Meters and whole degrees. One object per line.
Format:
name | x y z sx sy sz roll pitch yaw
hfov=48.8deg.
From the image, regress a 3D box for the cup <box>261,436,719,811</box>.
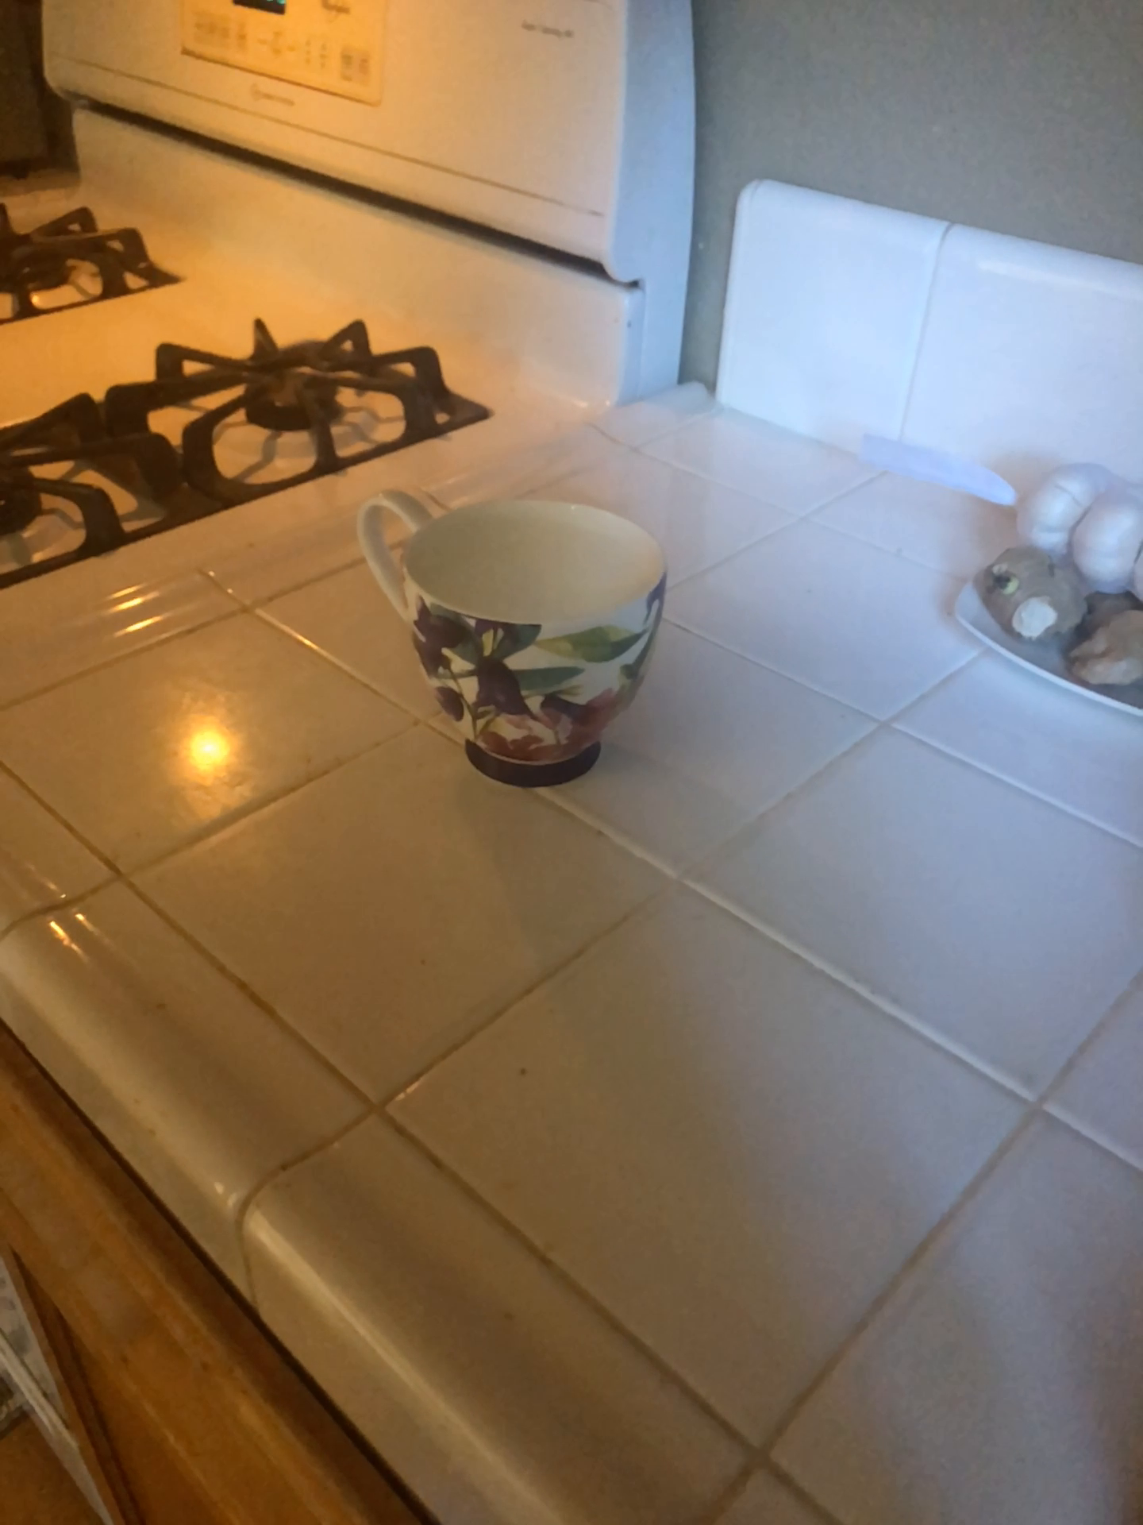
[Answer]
cup | -0.032 -0.065 0.535 0.150 0.079 0.111 20 41 21
